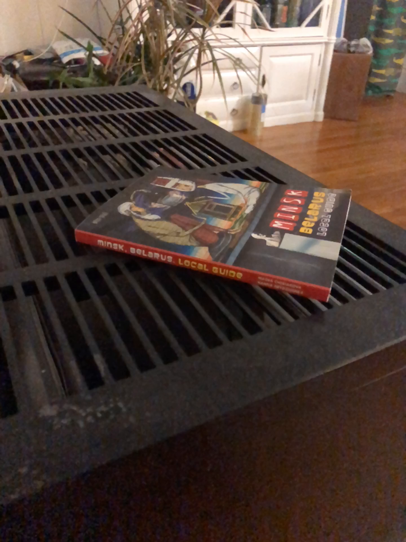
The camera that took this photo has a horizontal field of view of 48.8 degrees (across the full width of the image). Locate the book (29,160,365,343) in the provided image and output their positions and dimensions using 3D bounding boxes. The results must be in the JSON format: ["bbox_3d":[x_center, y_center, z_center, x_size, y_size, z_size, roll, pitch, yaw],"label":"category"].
[{"bbox_3d":[0.009,-0.032,0.331,0.200,0.020,0.161,13,35,16],"label":"book"}]
